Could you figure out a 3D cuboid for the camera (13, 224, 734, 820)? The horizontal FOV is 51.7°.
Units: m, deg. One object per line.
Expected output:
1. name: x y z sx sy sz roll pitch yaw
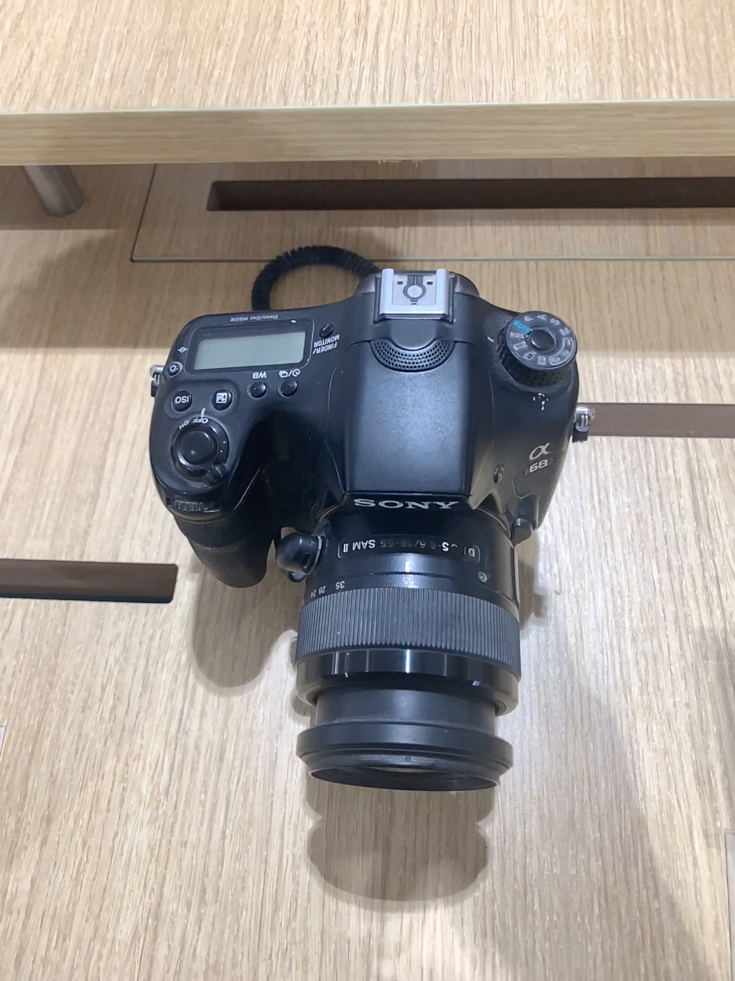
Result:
1. camera: 0.007 0.011 0.235 0.150 0.100 0.150 2 63 5
